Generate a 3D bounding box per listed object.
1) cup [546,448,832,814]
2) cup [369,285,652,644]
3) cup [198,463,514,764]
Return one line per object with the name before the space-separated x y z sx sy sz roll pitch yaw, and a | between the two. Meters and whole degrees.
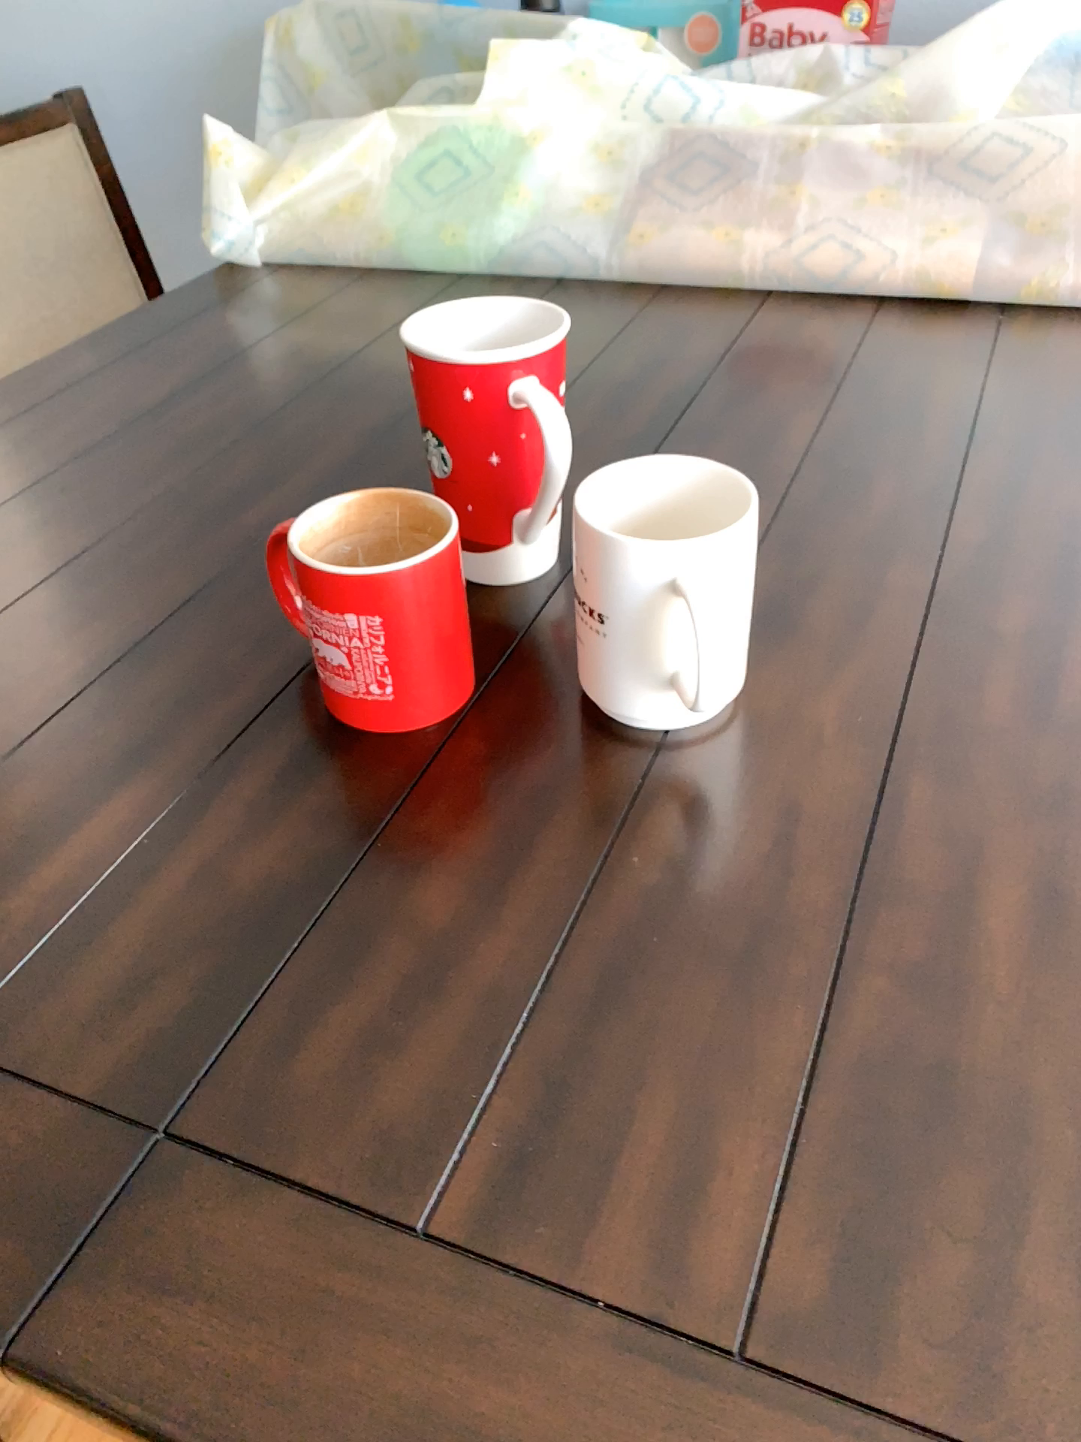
cup | 0.066 -0.049 0.553 0.100 0.109 0.141 -8 39 -5
cup | -0.016 -0.151 0.643 0.100 0.139 0.141 -21 42 -19
cup | -0.091 -0.059 0.573 0.120 0.090 0.090 25 47 31
